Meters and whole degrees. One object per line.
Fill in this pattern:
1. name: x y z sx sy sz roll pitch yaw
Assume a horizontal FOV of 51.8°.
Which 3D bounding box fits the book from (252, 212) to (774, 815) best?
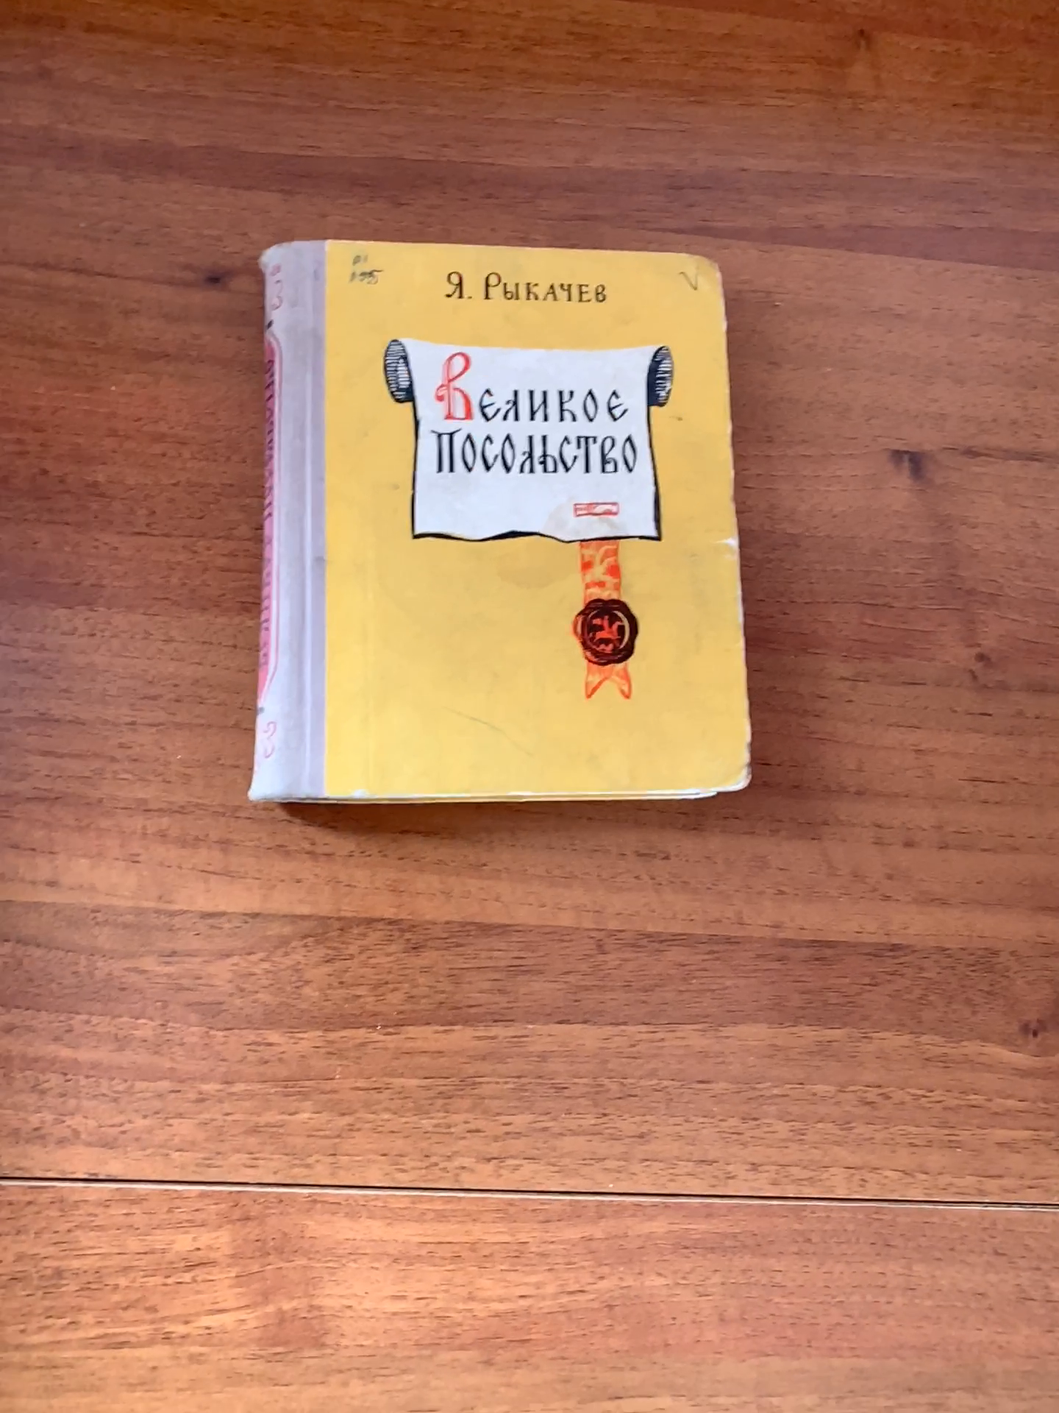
1. book: -0.004 -0.055 0.318 0.142 0.023 0.170 1 82 -7
